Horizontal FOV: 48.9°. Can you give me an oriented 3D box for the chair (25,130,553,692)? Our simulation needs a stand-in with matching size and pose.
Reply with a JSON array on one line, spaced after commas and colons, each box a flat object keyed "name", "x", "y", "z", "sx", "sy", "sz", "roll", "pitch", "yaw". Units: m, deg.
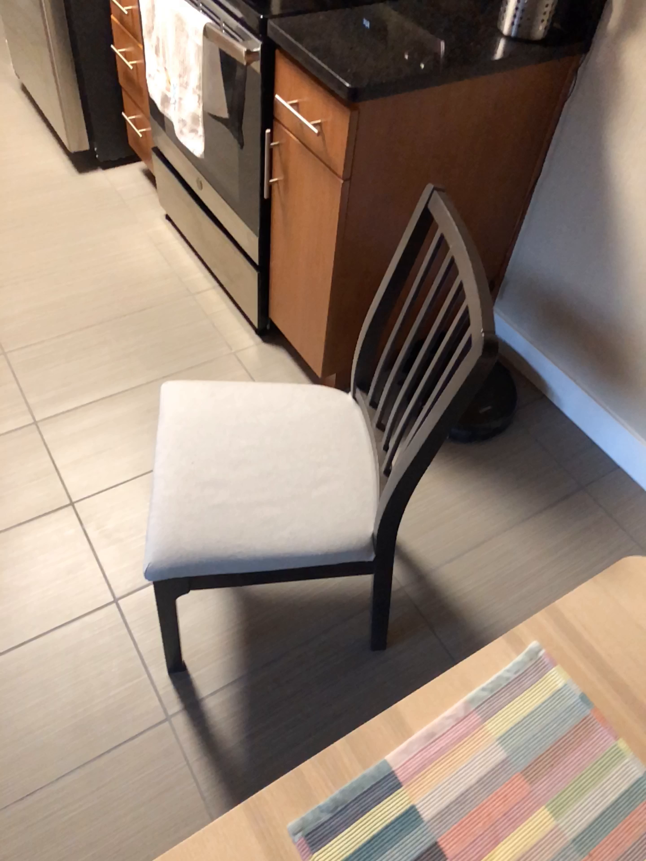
[{"name": "chair", "x": -0.085, "y": 0.016, "z": 1.299, "sx": 0.590, "sy": 0.847, "sz": 0.582, "roll": 0, "pitch": 50, "yaw": -7}]
